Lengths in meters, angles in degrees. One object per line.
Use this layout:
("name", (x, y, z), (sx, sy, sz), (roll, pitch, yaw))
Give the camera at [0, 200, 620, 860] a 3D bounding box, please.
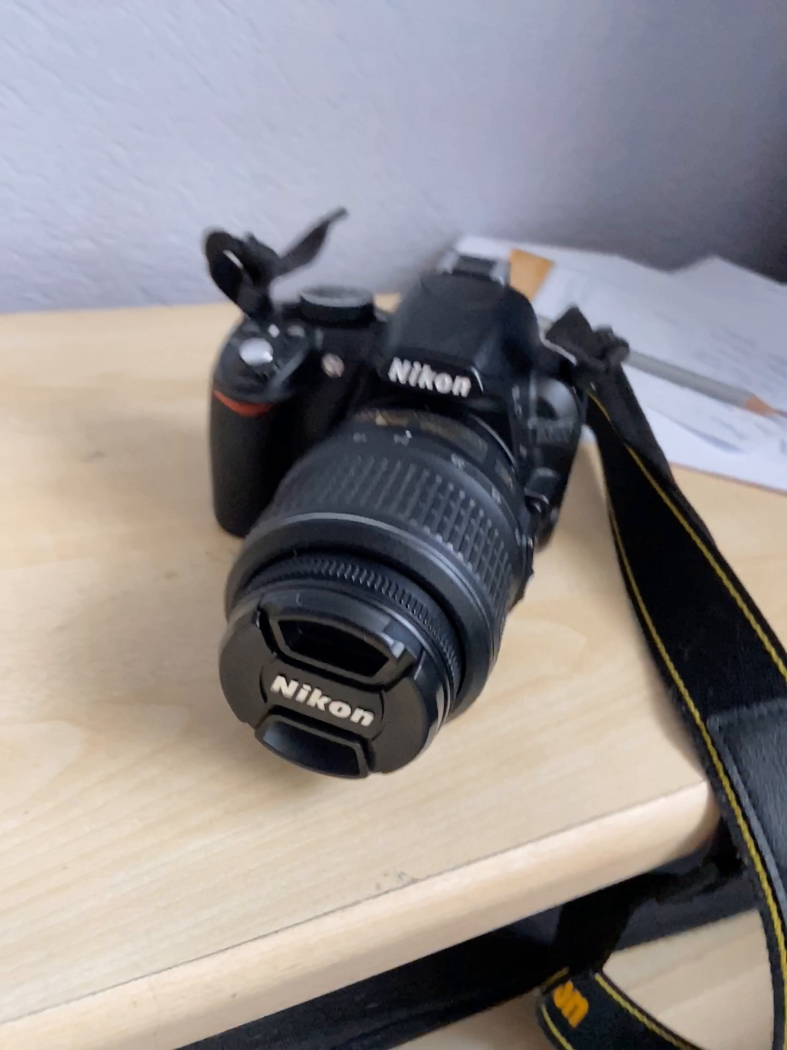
("camera", (-0.010, -0.016, 0.230), (0.118, 0.091, 0.153), (13, 37, 9))
